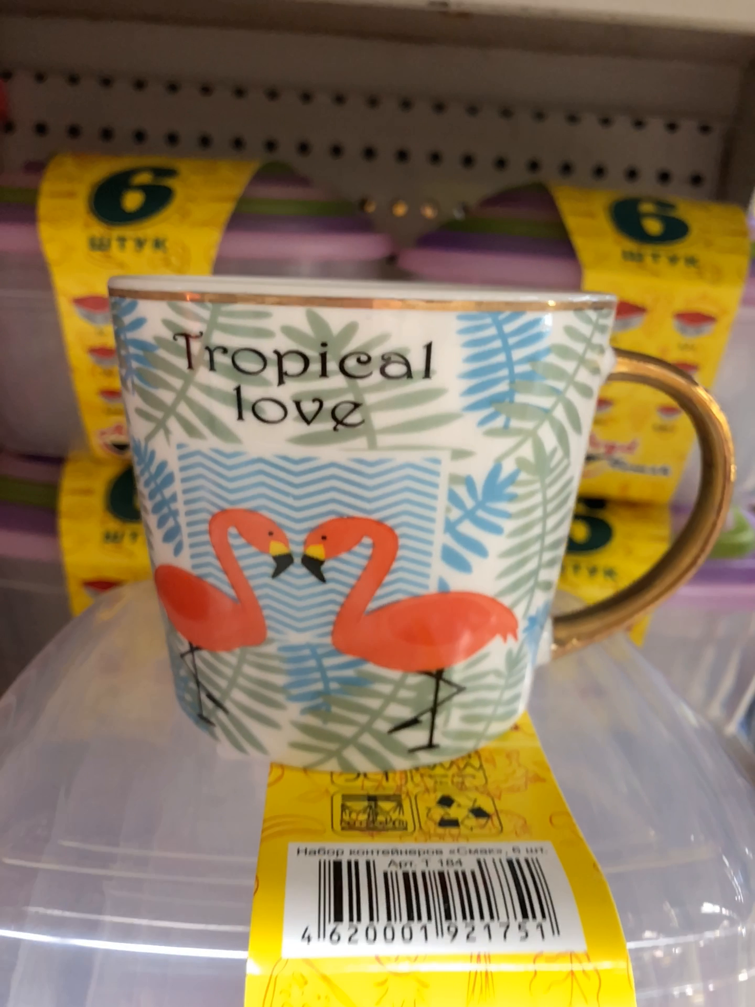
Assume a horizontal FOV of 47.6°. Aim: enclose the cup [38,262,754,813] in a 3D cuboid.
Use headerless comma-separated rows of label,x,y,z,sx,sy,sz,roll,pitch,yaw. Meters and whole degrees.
cup,0.003,-0.007,0.190,0.128,0.085,0.102,-2,16,-14
